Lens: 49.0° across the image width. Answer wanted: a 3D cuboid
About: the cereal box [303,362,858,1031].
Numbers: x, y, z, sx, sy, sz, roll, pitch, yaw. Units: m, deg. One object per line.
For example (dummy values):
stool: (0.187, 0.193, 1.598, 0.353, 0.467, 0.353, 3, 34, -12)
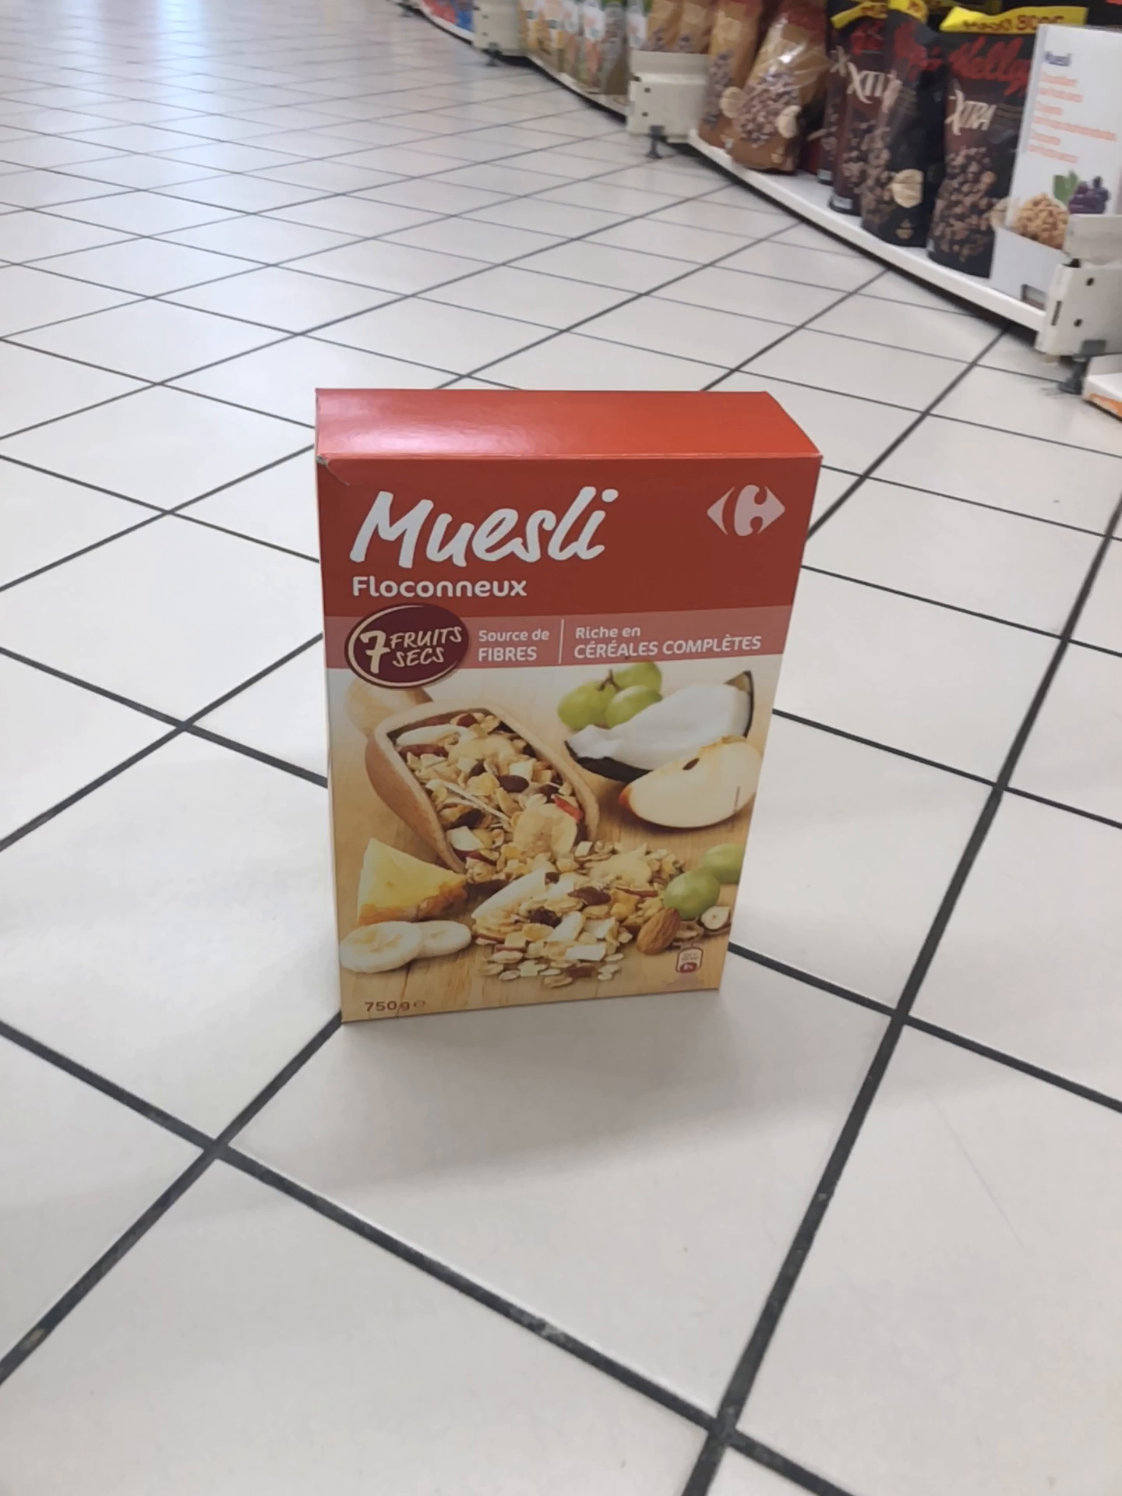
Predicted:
cereal box: (-0.005, -0.013, 0.468, 0.170, 0.239, 0.080, -2, 34, -10)
